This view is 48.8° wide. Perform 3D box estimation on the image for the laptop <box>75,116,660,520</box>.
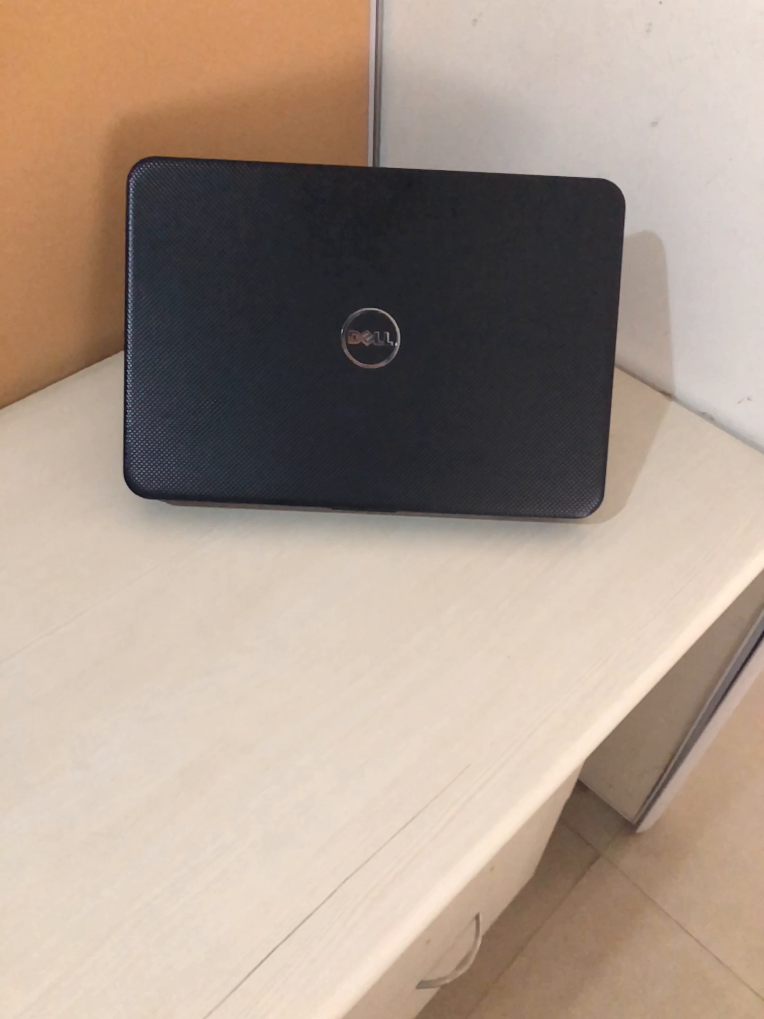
[{"bbox_3d":[-0.006,-0.155,0.661,0.351,0.179,0.256,3,46,-2],"label":"laptop"}]
